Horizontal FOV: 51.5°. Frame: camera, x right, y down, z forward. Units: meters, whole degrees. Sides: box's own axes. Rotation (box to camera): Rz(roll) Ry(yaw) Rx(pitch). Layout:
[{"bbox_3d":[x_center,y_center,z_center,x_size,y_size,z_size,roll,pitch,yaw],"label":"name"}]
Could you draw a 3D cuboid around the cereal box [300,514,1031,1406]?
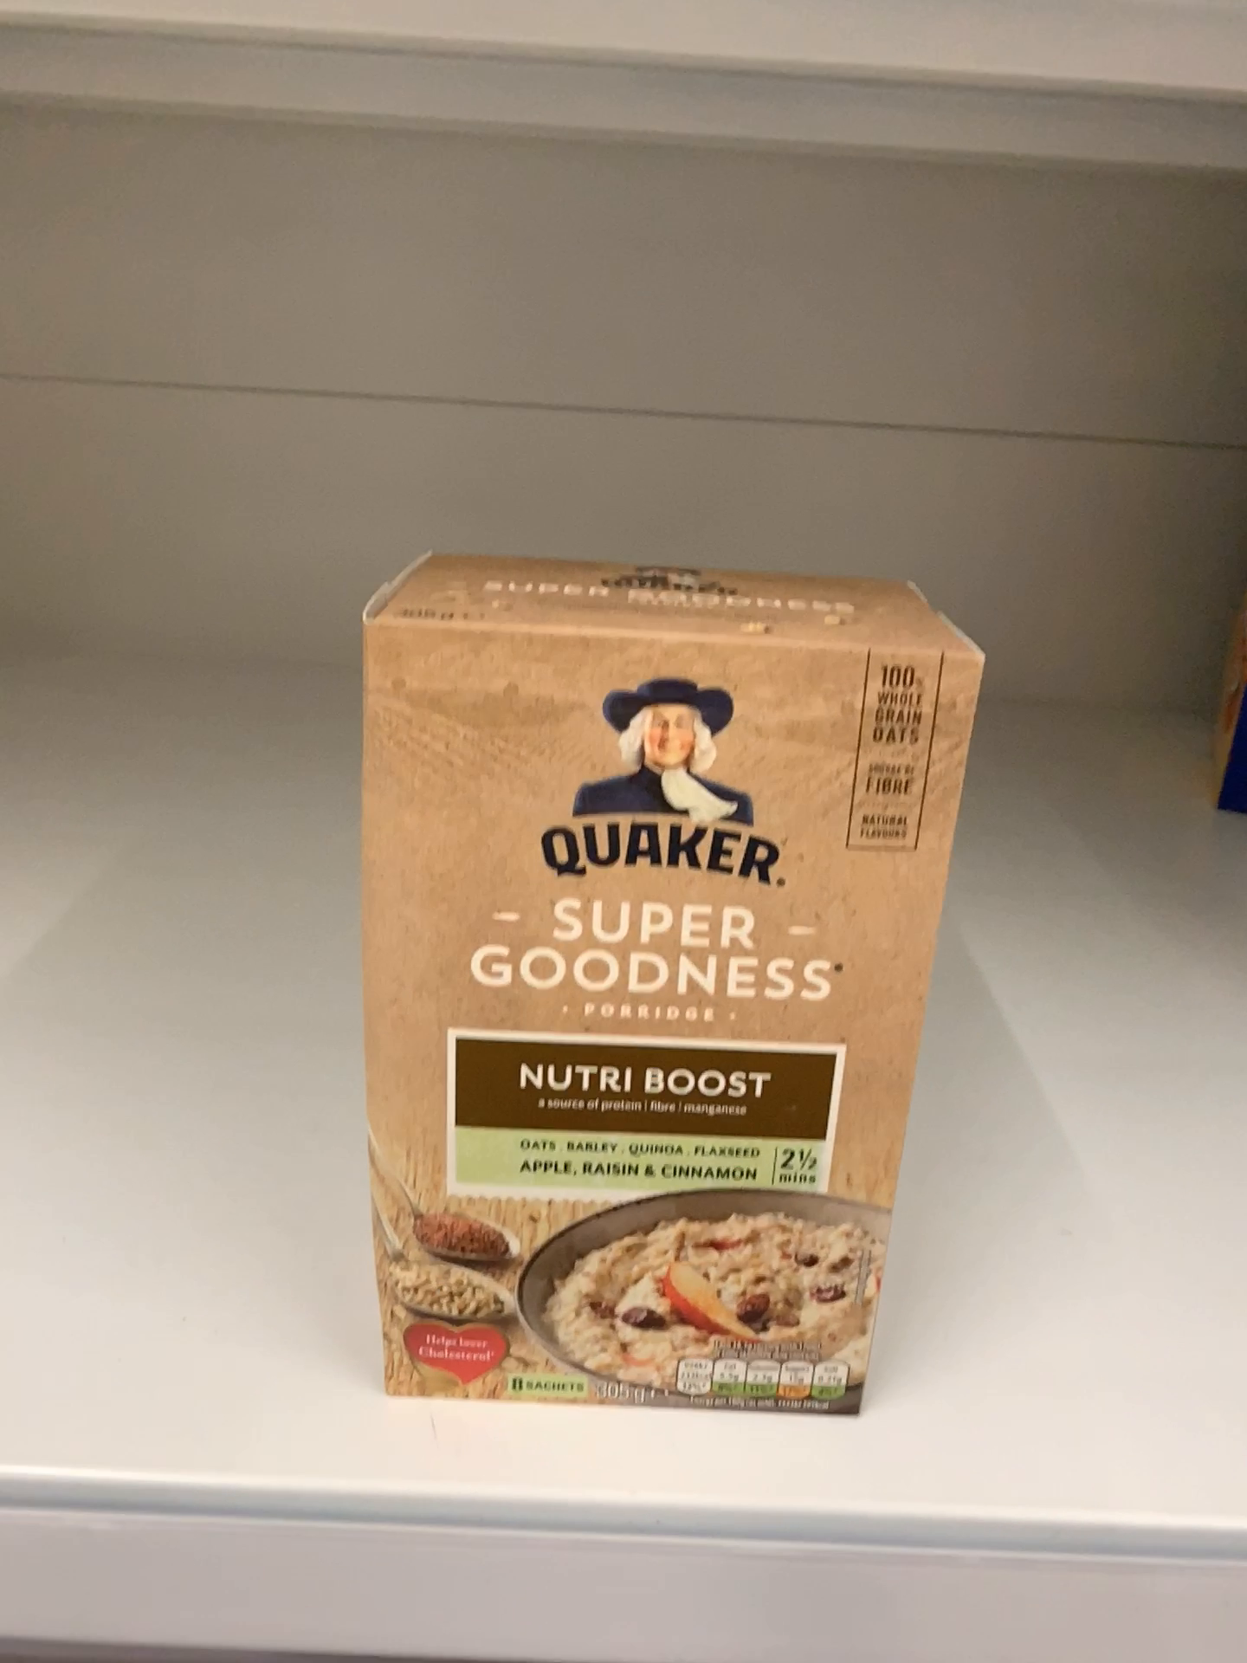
[{"bbox_3d":[0.003,0.033,0.316,0.140,0.199,0.071,3,21,-1],"label":"cereal box"}]
